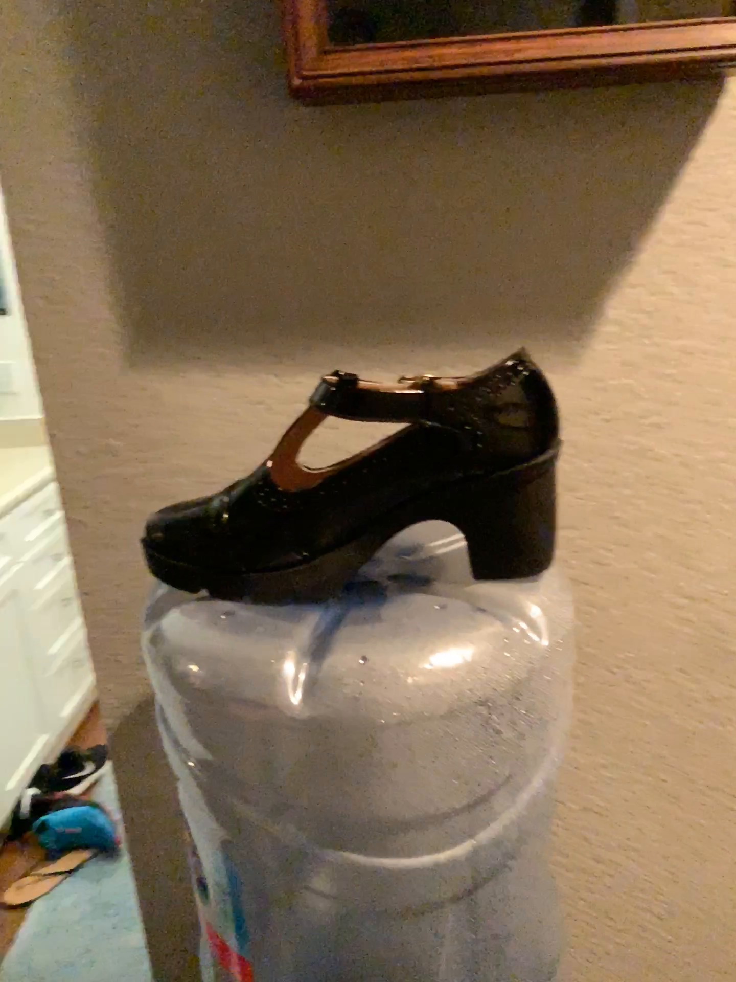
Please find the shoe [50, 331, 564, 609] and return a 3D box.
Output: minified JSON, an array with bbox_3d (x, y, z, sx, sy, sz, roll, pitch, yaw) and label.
[{"bbox_3d":[-0.022,-0.016,0.468,0.250,0.120,0.130,-1,18,8],"label":"shoe"}]
